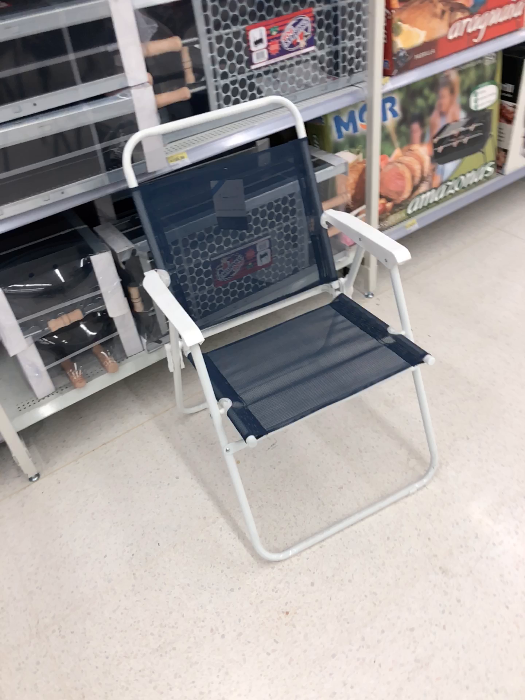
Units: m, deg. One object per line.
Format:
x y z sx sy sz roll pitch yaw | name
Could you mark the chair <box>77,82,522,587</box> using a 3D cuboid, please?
0.042 -0.065 1.260 0.541 0.735 0.654 -22 42 -17 | chair
